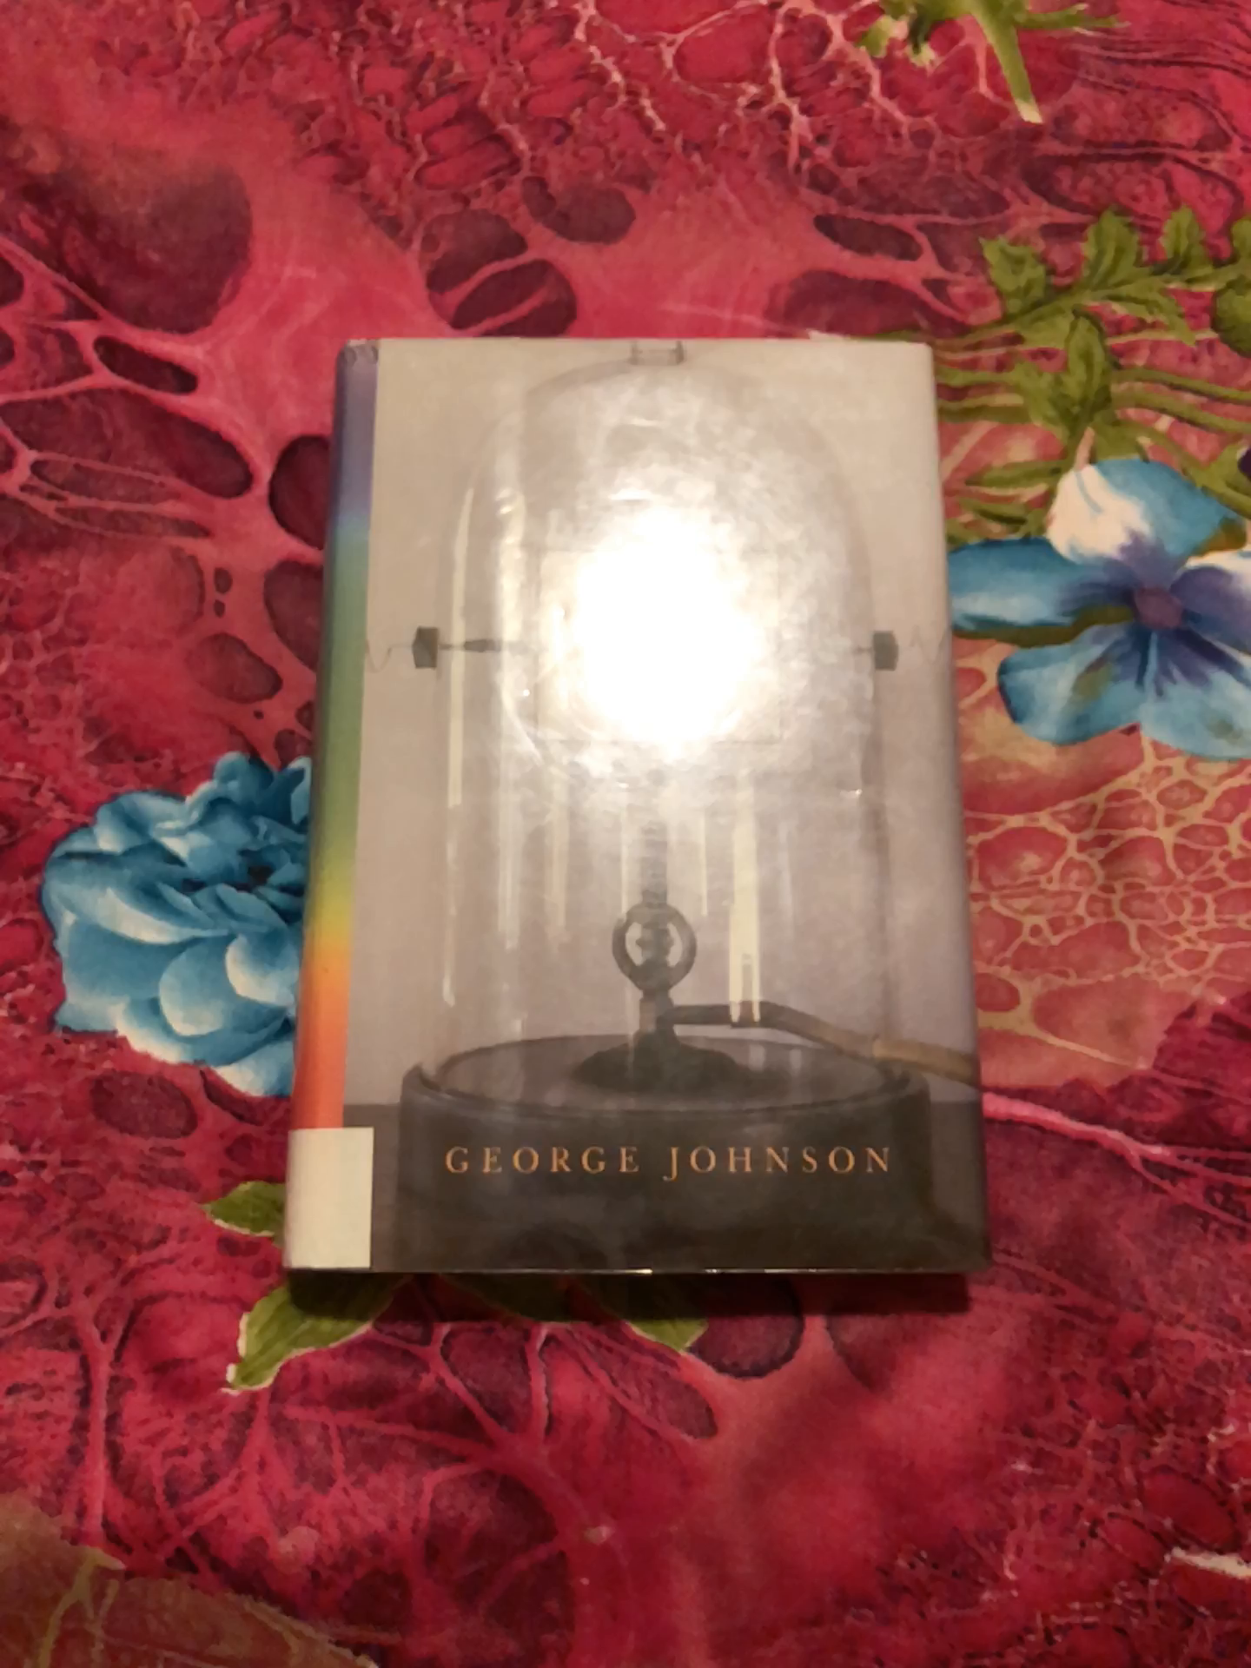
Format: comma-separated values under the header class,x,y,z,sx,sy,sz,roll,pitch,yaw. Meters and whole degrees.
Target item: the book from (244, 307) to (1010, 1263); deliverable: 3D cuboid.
class,x,y,z,sx,sy,sz,roll,pitch,yaw
book,-0.001,-0.015,0.296,0.140,0.030,0.200,-1,75,-1
